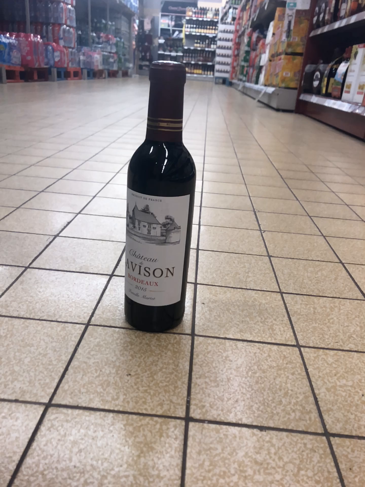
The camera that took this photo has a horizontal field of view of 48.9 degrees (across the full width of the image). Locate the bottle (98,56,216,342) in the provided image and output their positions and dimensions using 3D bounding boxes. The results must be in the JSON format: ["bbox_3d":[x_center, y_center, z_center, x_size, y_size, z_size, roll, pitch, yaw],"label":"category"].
[{"bbox_3d":[-0.025,-0.034,0.340,0.070,0.219,0.060,12,23,17],"label":"bottle"}]
